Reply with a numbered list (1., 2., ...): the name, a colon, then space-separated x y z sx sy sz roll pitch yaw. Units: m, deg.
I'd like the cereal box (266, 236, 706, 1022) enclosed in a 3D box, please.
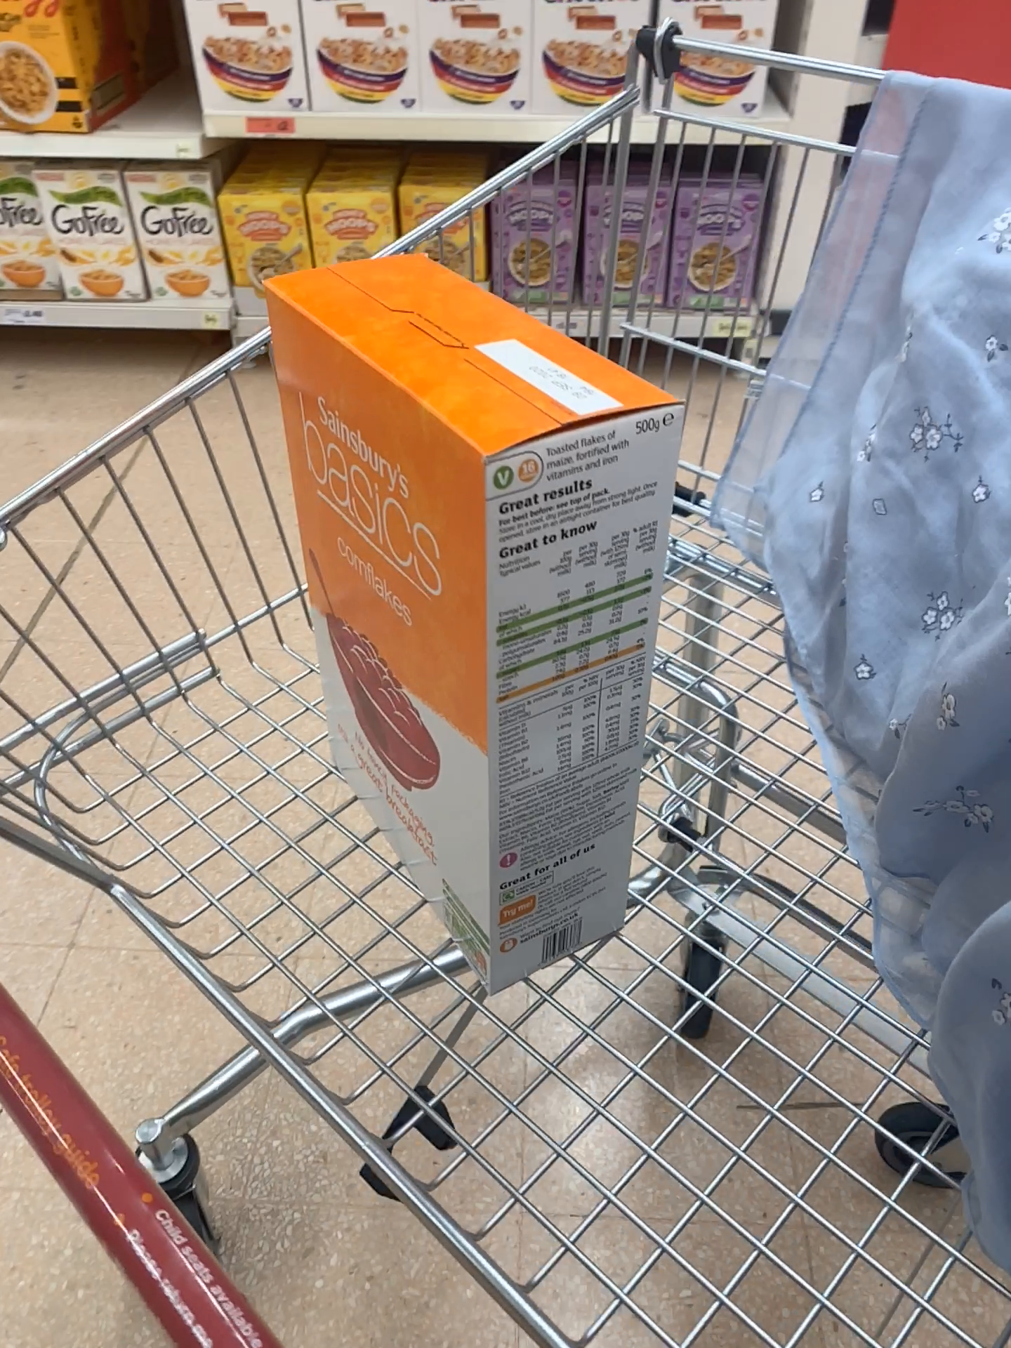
1. cereal box: -0.021 -0.020 0.502 0.080 0.307 0.212 -19 42 -24
